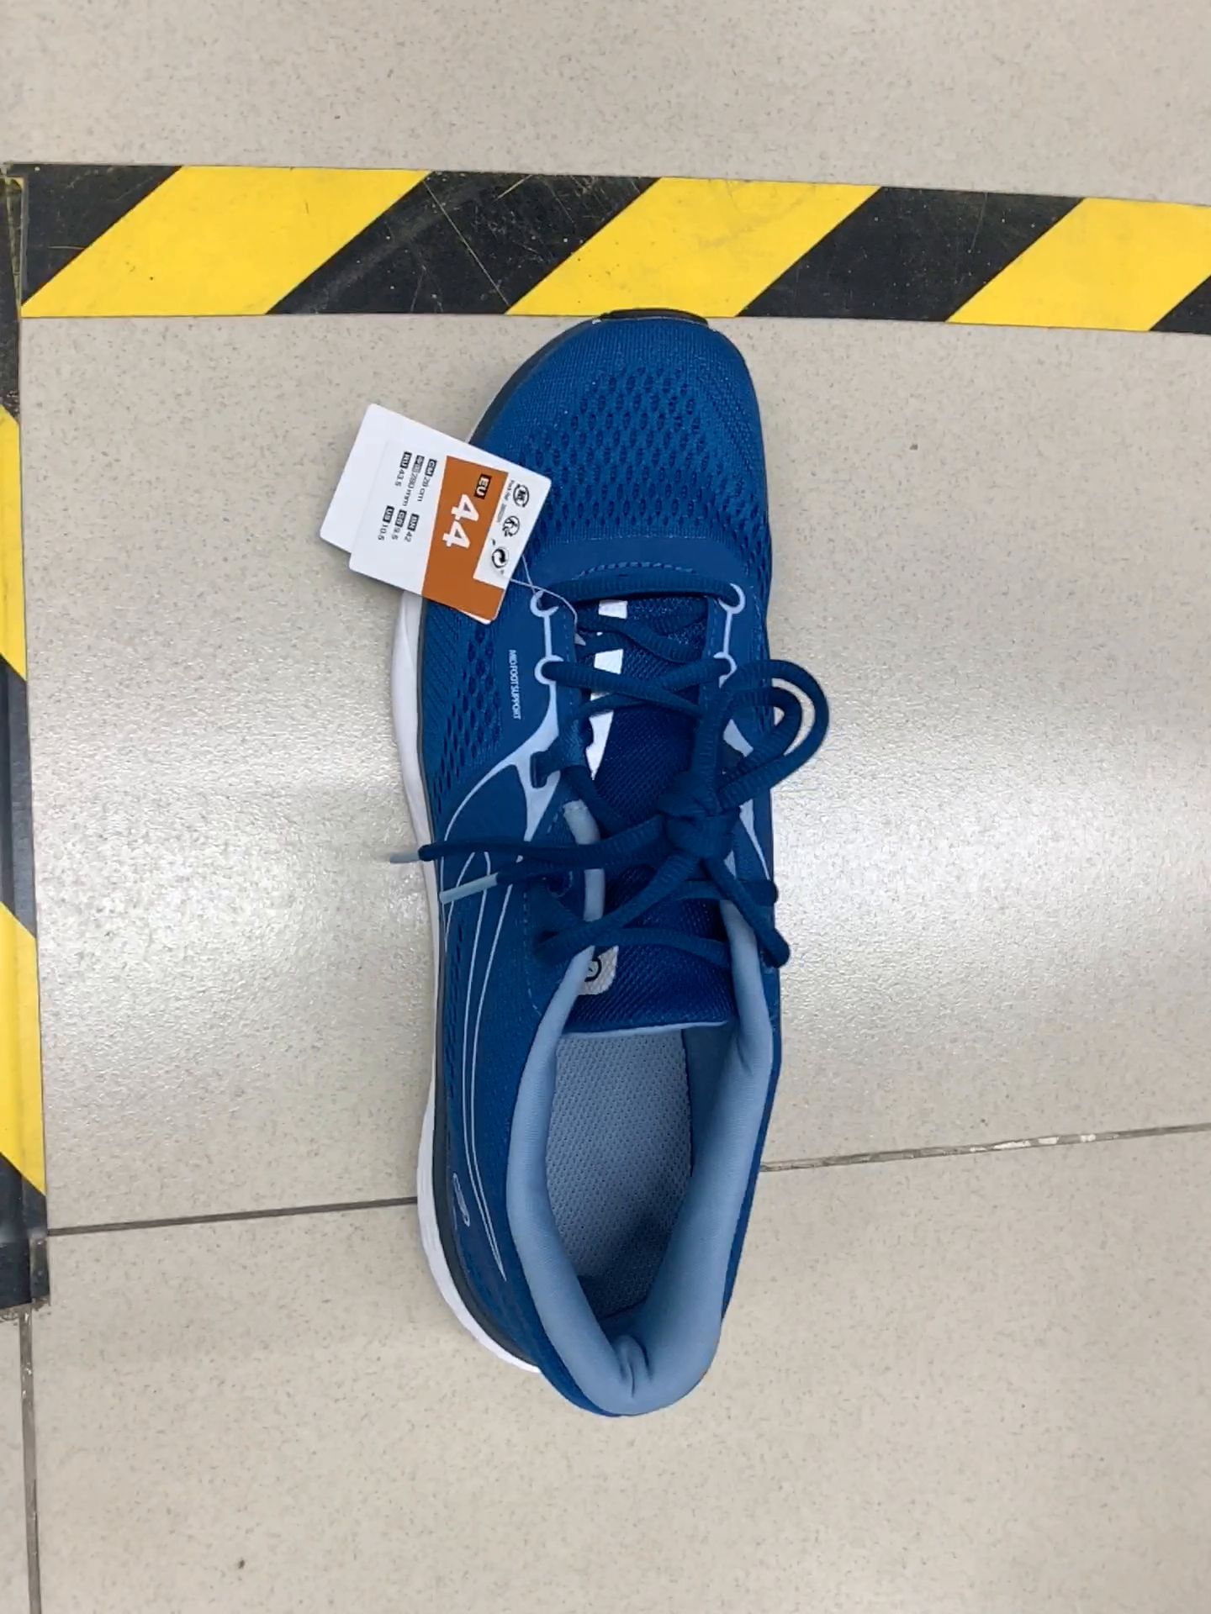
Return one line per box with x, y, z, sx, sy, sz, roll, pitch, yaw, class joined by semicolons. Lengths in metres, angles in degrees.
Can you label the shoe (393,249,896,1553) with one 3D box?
0.004;0.017;0.320;0.110;0.070;0.290;1;83;-9;shoe
